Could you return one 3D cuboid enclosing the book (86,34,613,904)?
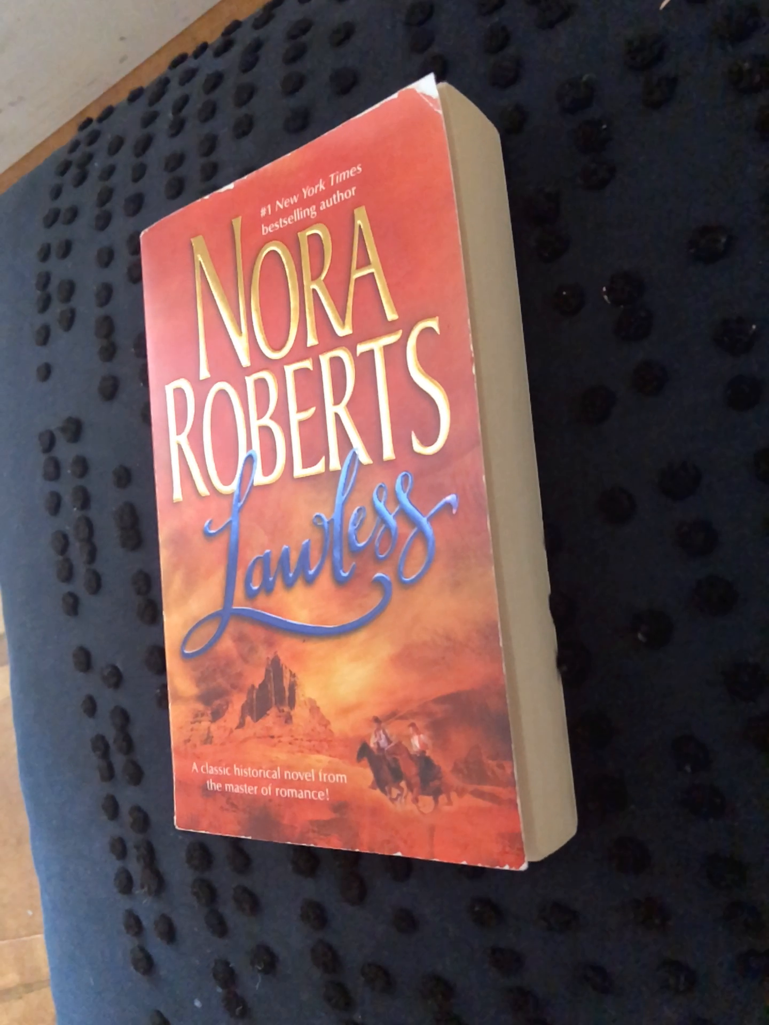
[{"bbox_3d":[-0.016,-0.006,0.221,0.120,0.040,0.180,-8,83,29],"label":"book"}]
